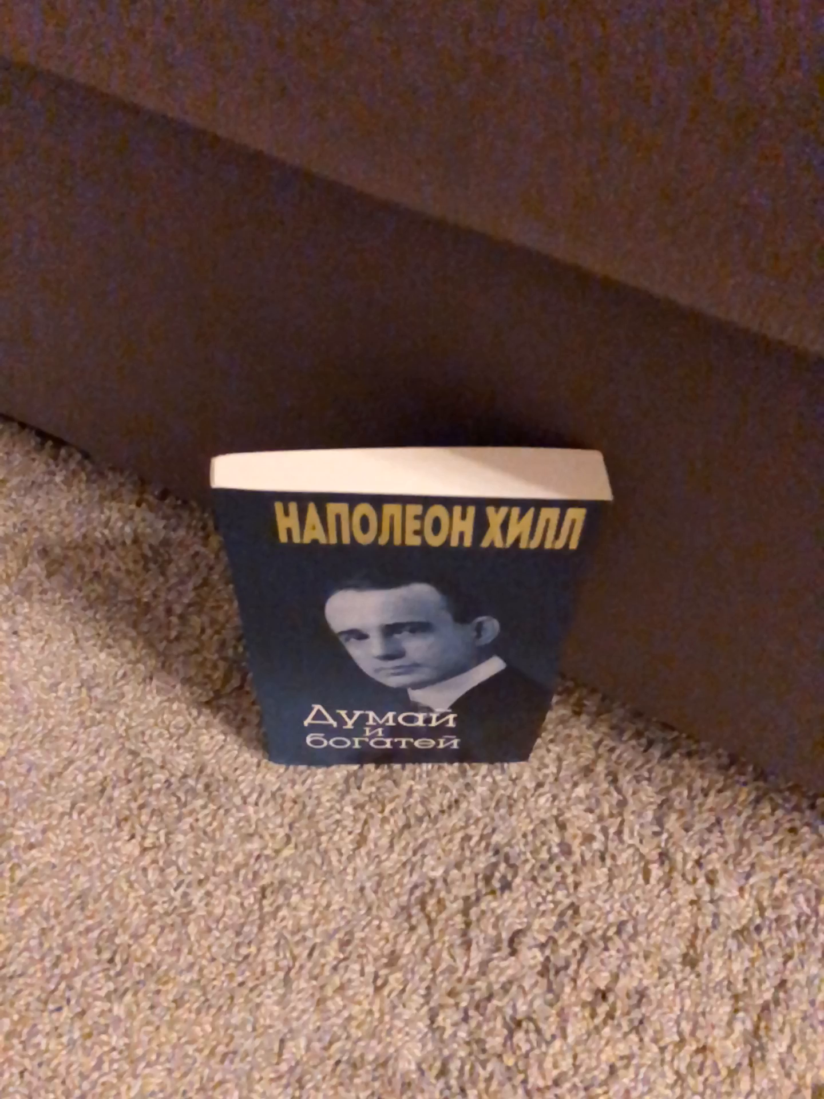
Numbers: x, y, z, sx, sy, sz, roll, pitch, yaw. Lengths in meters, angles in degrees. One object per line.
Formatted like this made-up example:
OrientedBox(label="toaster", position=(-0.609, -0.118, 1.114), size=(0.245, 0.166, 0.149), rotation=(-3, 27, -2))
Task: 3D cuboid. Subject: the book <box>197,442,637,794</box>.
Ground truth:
OrientedBox(label="book", position=(-0.003, 0.039, 0.356), size=(0.132, 0.198, 0.030), rotation=(-1, 52, -5))
